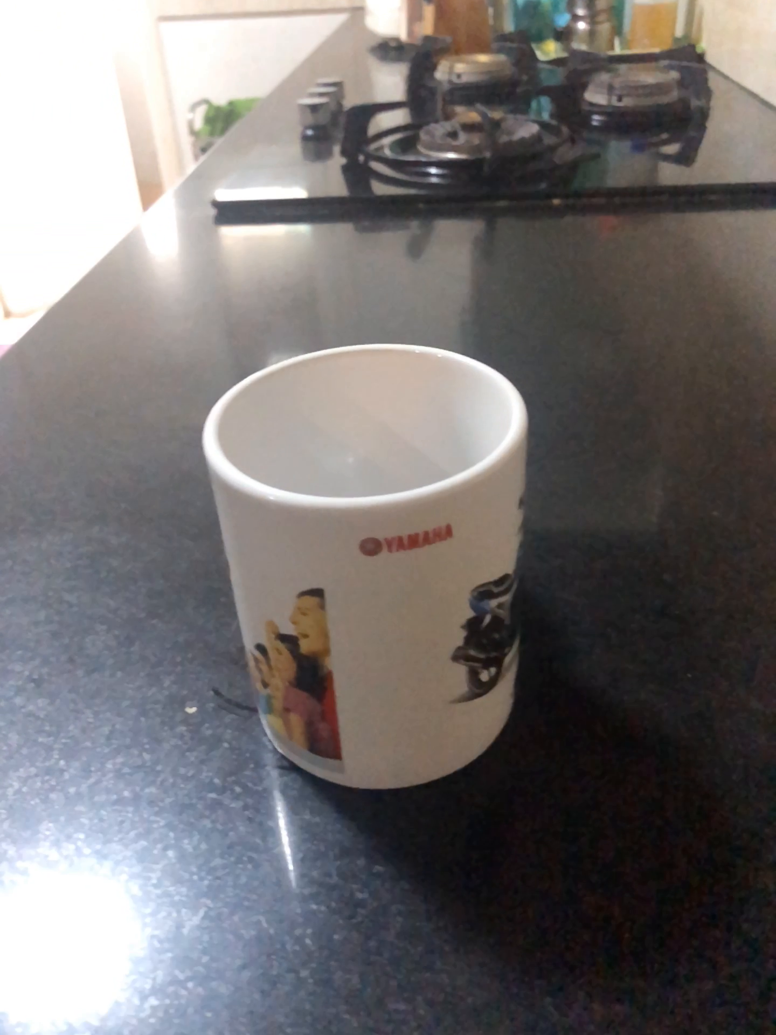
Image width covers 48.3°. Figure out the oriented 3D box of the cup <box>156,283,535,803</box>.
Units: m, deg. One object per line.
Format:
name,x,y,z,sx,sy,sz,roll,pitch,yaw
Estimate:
cup,0.000,0.000,0.260,0.080,0.099,0.121,3,35,9
